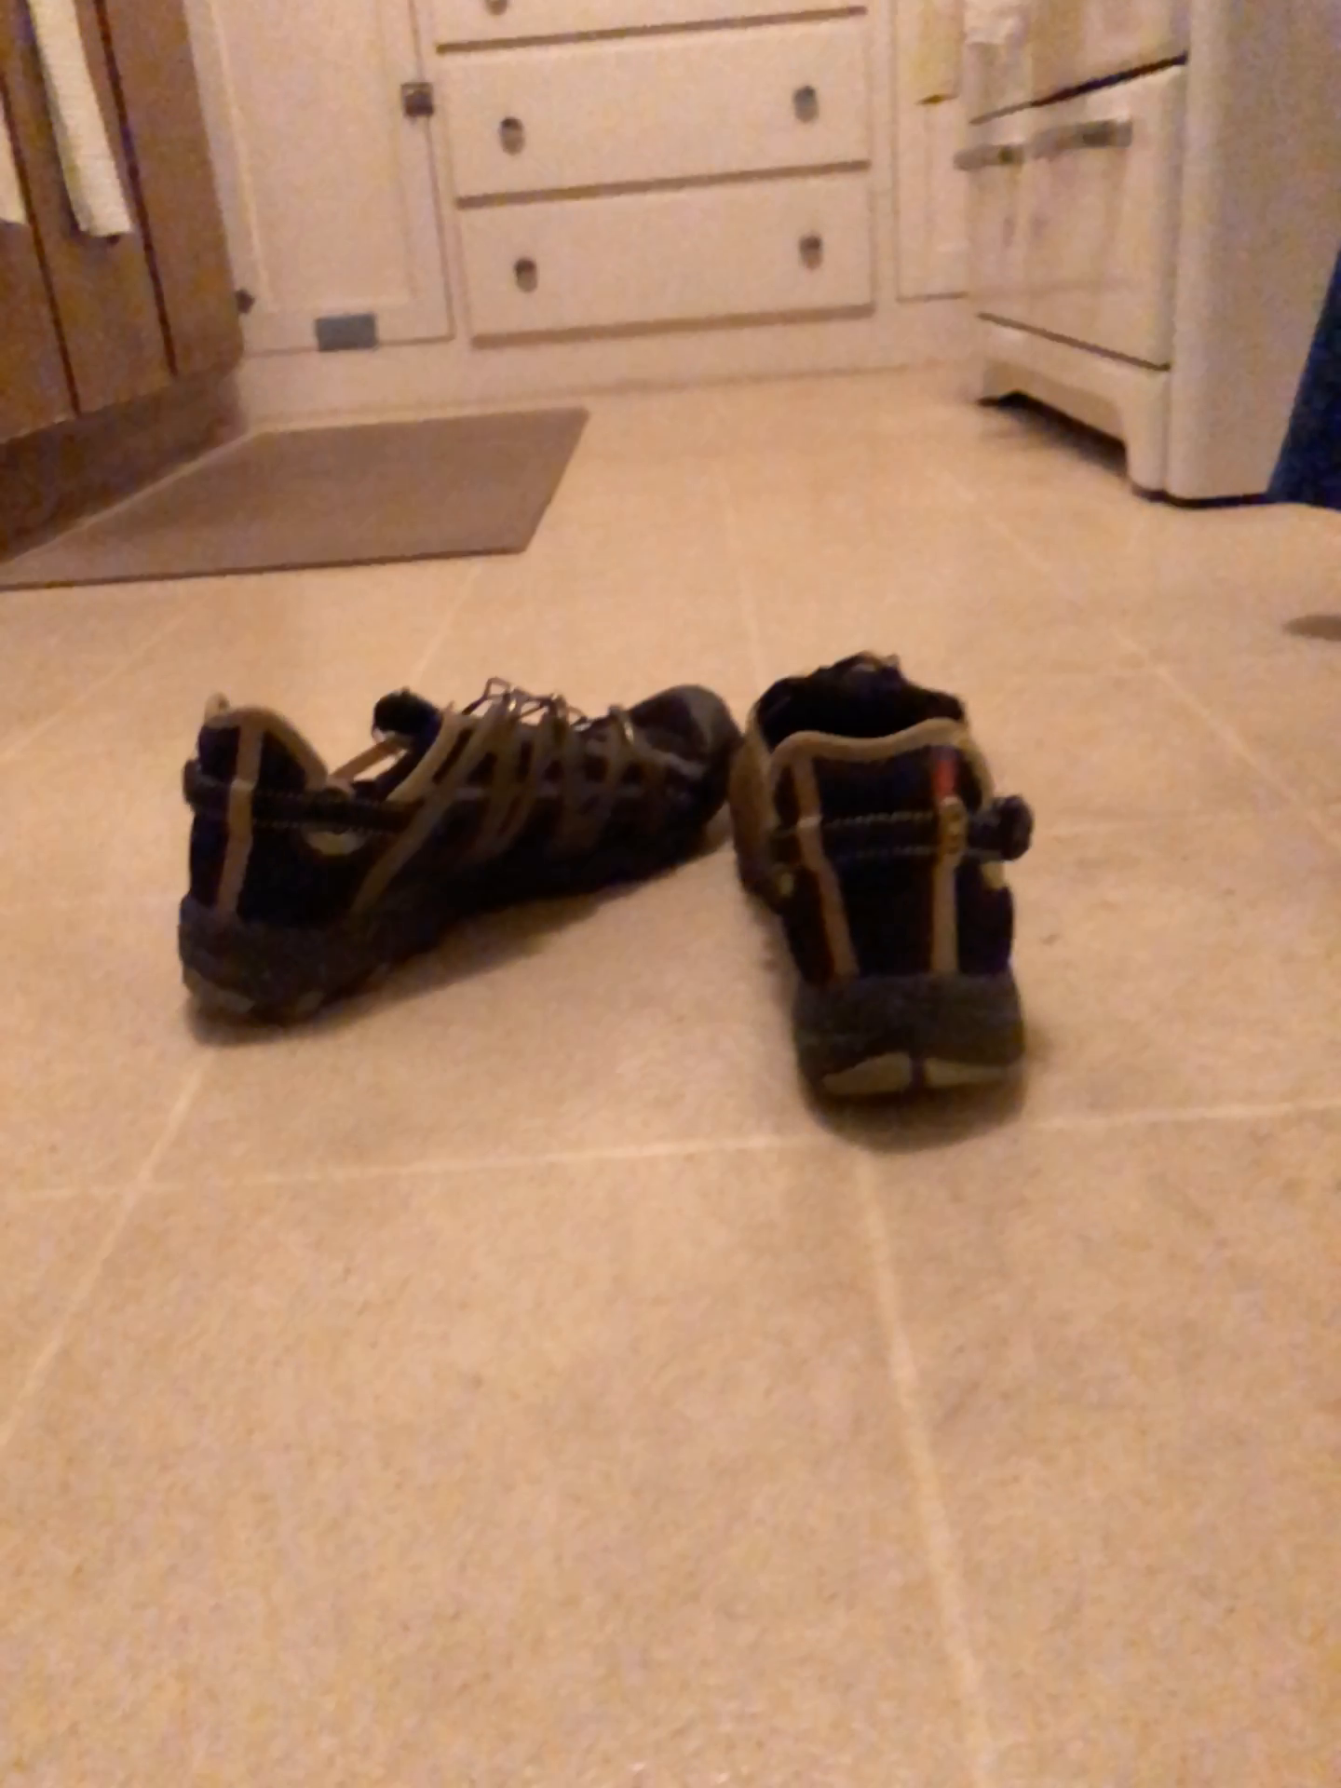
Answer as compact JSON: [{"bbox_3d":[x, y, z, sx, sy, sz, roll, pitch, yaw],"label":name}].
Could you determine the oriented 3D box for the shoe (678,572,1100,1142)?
[{"bbox_3d":[0.068,-0.035,0.583,0.109,0.111,0.288,-5,24,0],"label":"shoe"}]

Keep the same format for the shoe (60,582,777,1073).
[{"bbox_3d":[-0.091,-0.044,0.631,0.280,0.109,0.100,-24,30,-36],"label":"shoe"}]
